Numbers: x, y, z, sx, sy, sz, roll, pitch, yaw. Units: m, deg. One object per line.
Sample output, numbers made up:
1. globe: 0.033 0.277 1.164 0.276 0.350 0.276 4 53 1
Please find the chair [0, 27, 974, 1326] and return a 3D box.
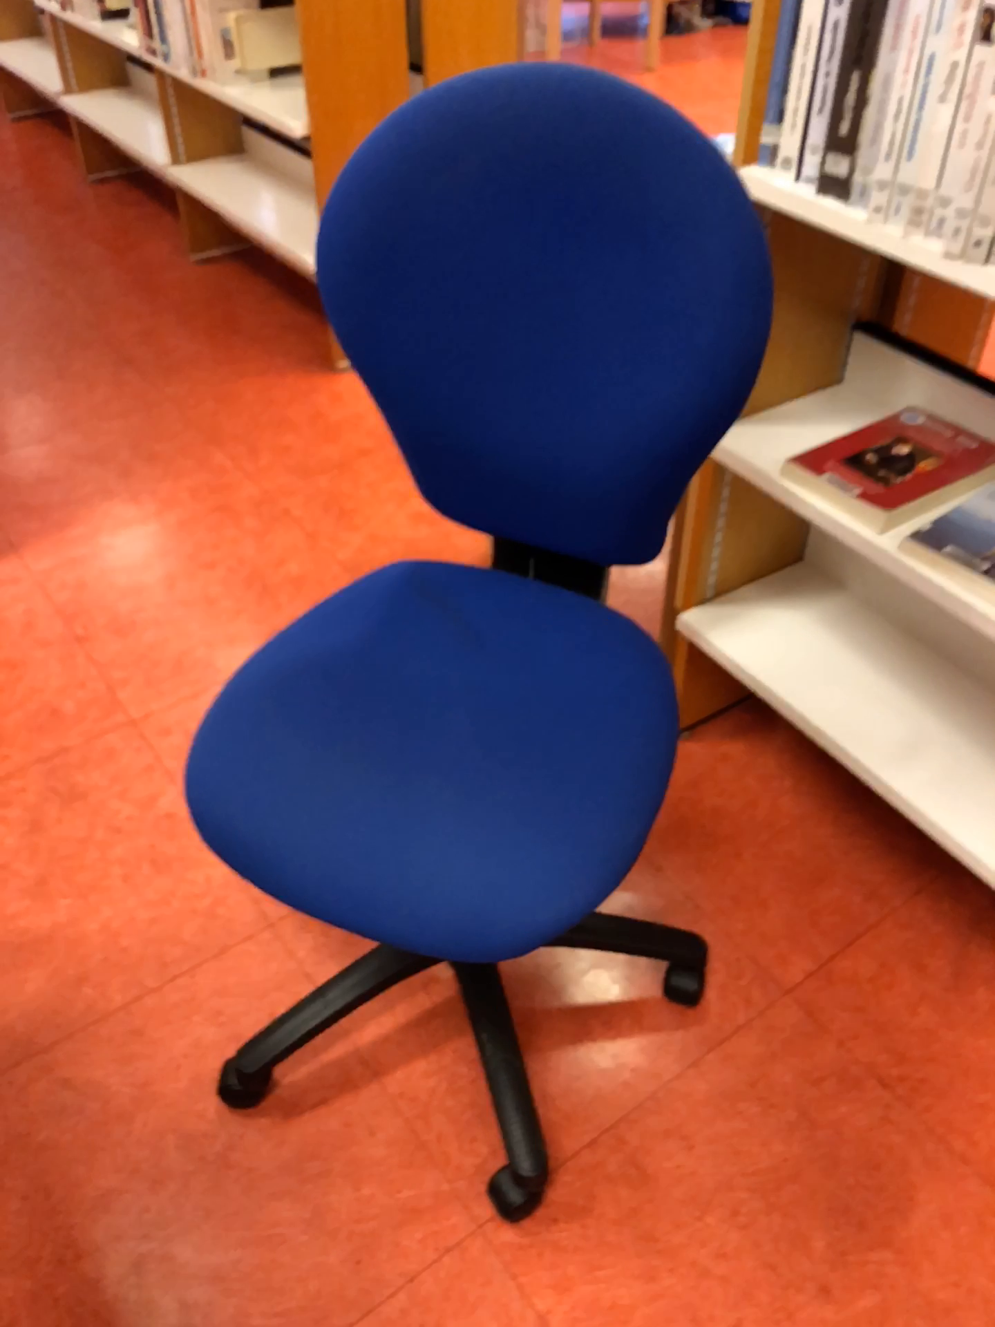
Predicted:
1. chair: -0.081 0.001 1.064 0.660 0.914 0.624 22 46 24
